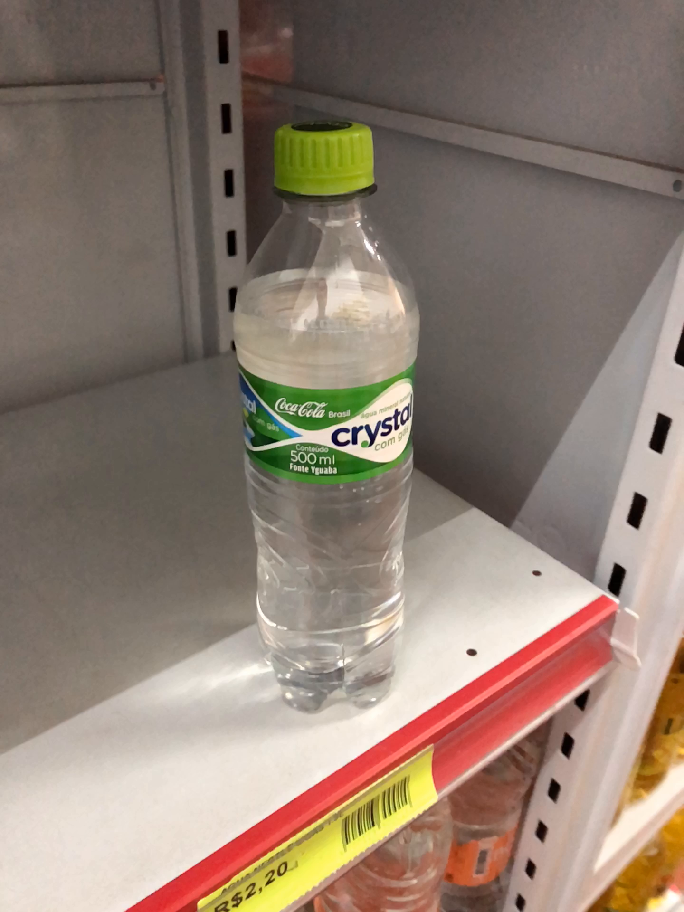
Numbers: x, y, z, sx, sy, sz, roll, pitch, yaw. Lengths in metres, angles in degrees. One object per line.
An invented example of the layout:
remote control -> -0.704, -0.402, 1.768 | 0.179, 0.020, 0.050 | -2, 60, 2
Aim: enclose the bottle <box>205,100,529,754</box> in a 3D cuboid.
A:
bottle -> 0.003, -0.002, 0.273 | 0.070, 0.218, 0.060 | -18, 37, -30
